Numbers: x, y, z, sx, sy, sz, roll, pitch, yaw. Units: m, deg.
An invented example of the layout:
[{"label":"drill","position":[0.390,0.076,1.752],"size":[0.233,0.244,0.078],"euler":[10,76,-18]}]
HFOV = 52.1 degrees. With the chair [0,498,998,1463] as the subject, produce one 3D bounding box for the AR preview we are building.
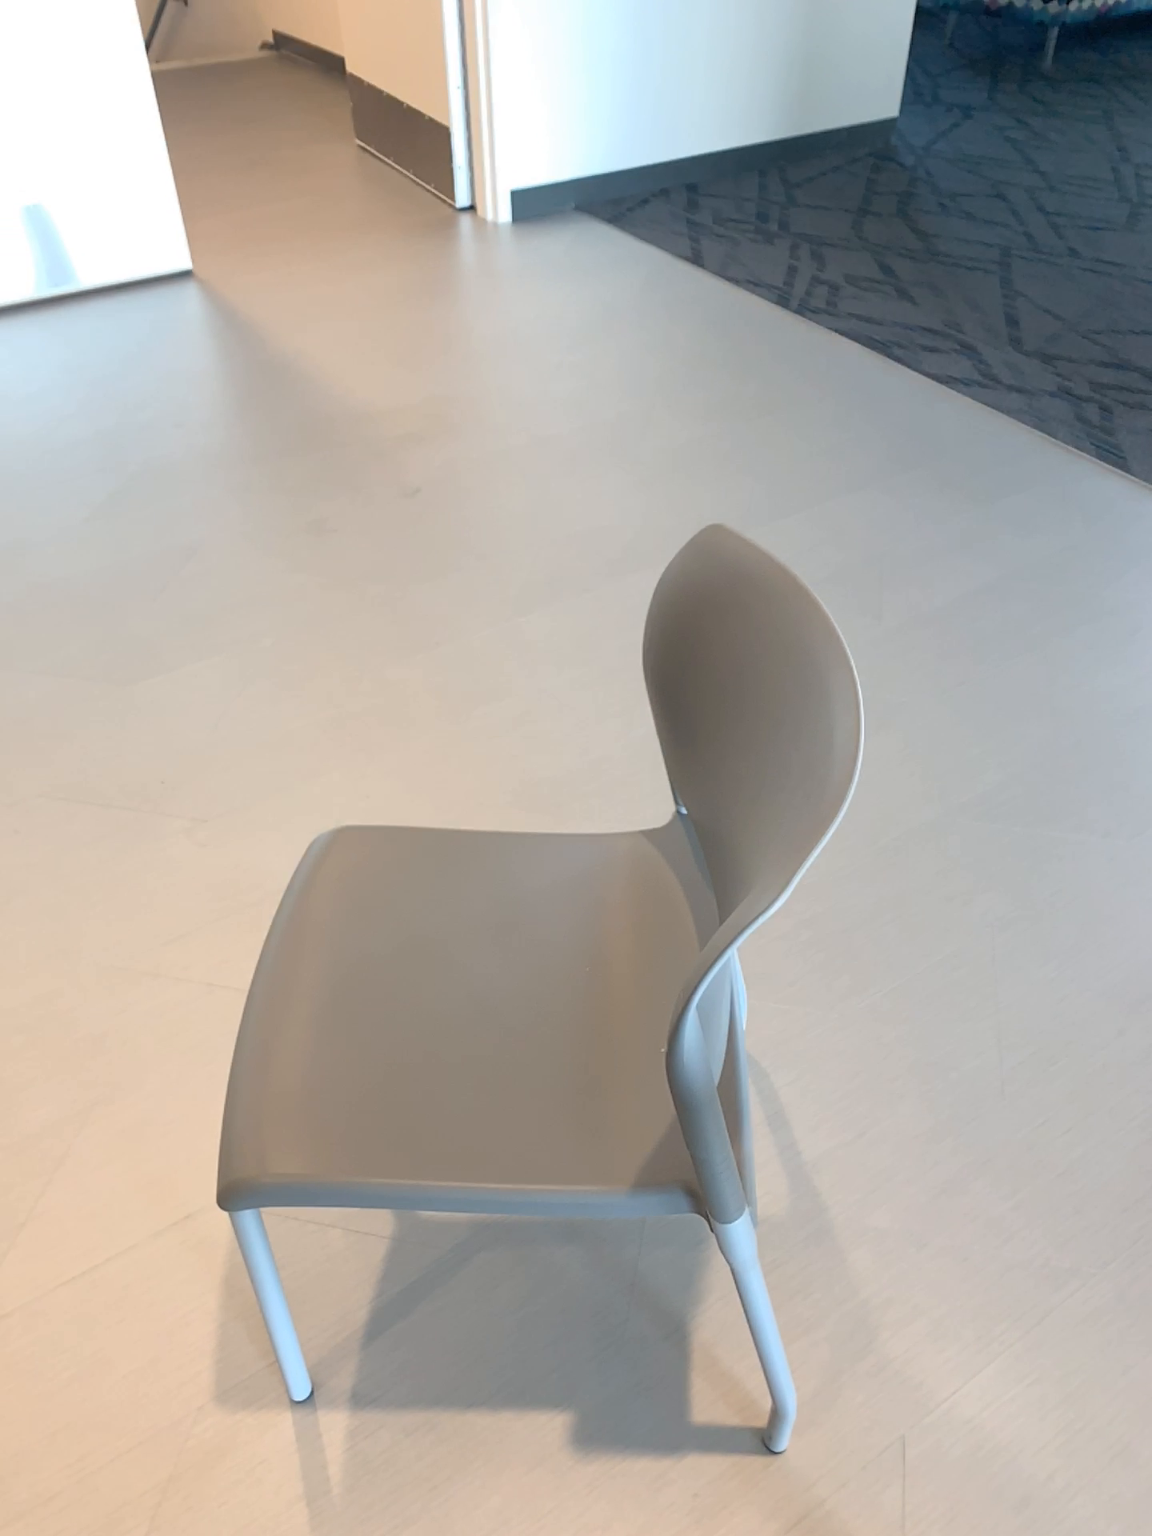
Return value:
[{"label":"chair","position":[-0.048,0.226,1.104],"size":[0.570,0.783,0.505],"euler":[0,41,0]}]
